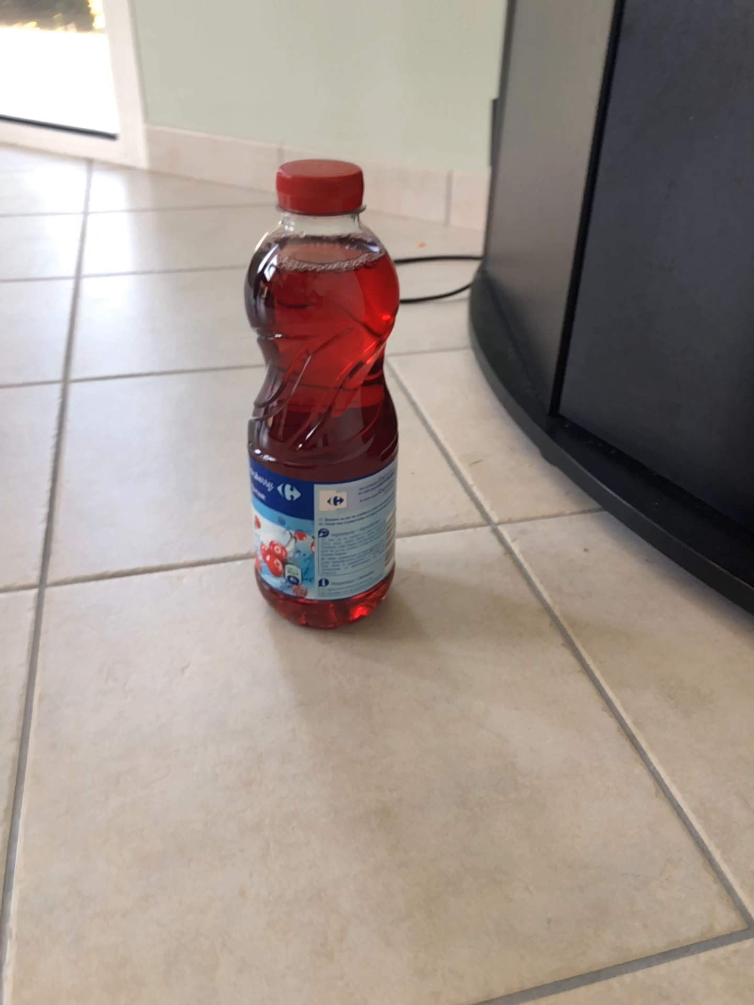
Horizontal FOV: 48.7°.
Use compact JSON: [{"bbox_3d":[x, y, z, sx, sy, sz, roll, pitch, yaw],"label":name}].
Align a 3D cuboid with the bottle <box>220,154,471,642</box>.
[{"bbox_3d":[-0.021,-0.052,0.451,0.100,0.239,0.090,-6,34,-12],"label":"bottle"}]
